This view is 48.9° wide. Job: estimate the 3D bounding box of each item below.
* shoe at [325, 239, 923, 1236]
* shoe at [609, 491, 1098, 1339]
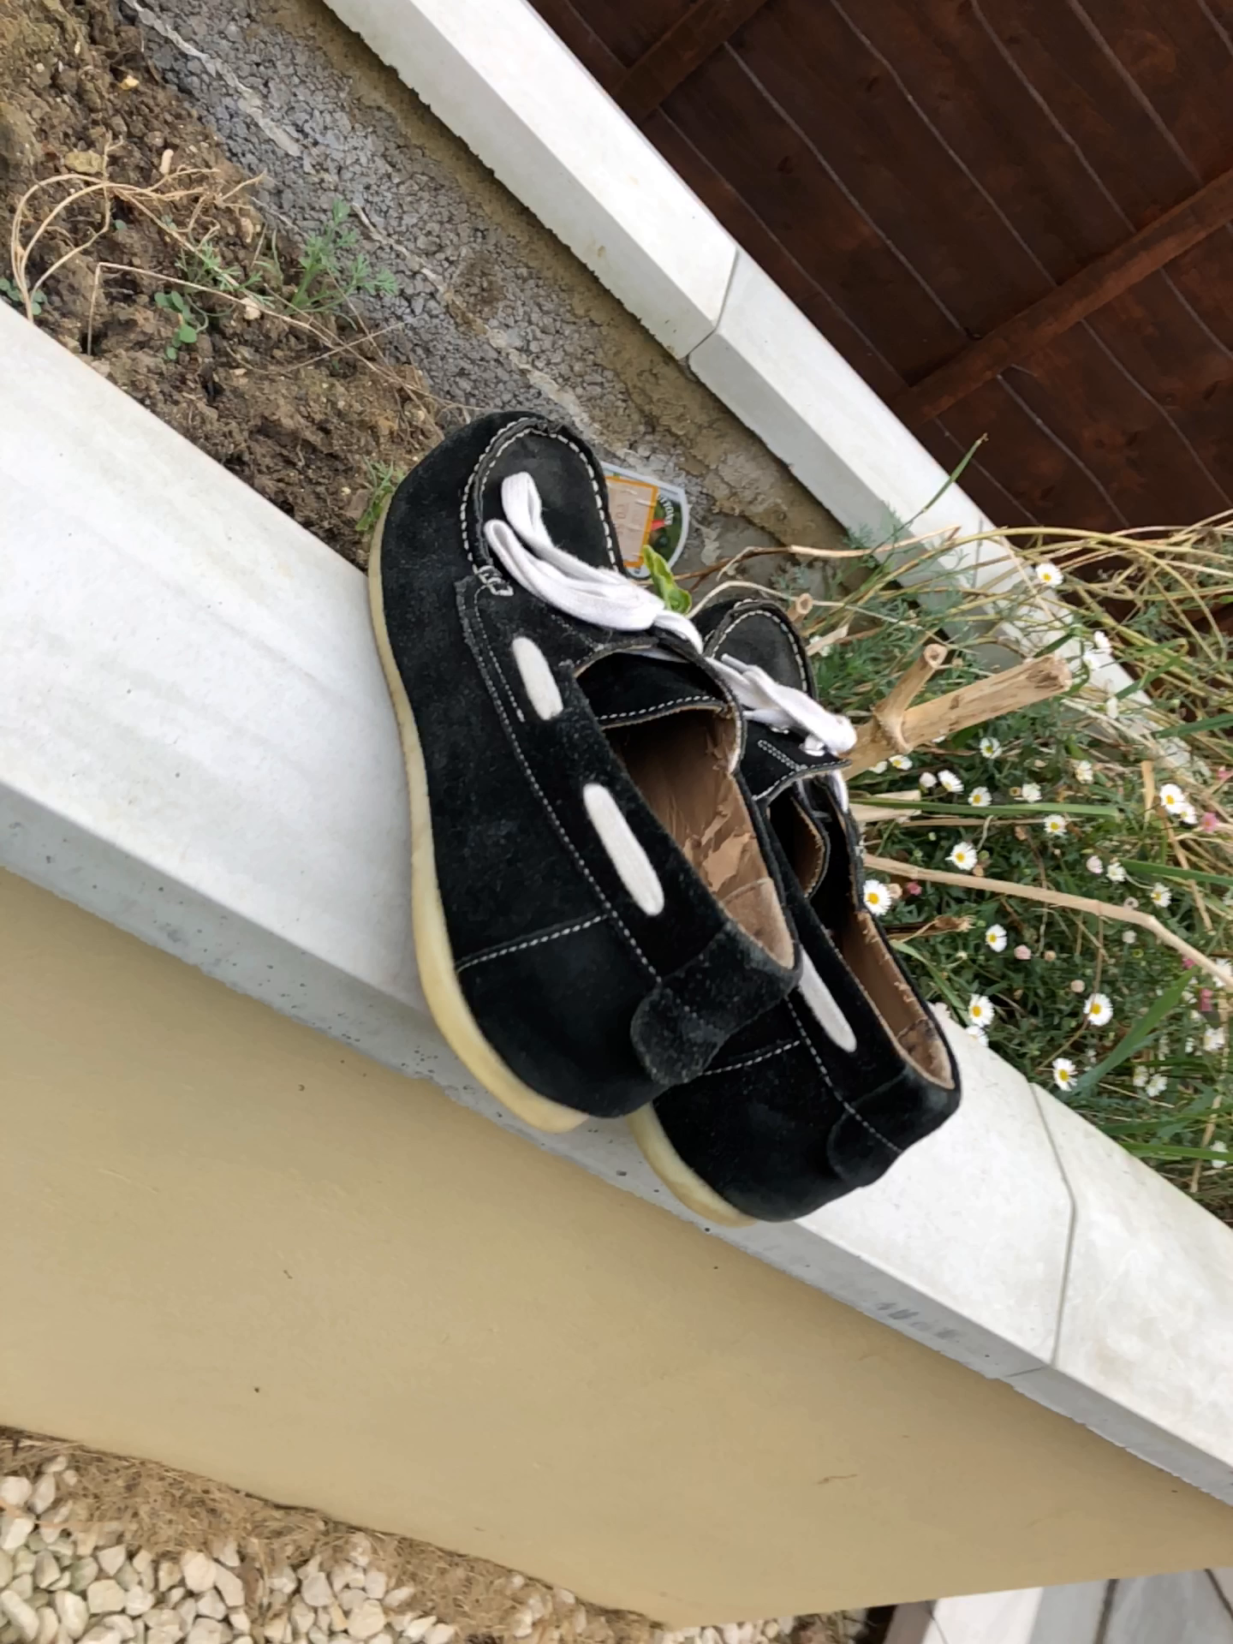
[{"bbox_3d":[-0.013,-0.045,0.437,0.120,0.089,0.311,31,35,-36],"label":"shoe"},{"bbox_3d":[0.070,0.013,0.499,0.110,0.089,0.301,40,30,-28],"label":"shoe"}]
